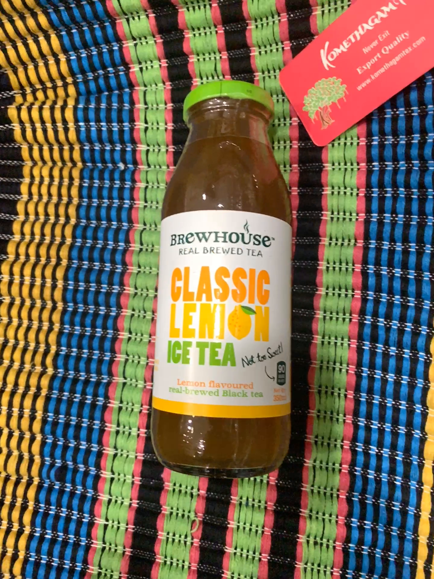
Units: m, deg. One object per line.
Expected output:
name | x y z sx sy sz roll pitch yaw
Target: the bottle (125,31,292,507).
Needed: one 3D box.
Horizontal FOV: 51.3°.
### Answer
bottle | 0.001 -0.011 0.197 0.060 0.050 0.180 0 82 9
